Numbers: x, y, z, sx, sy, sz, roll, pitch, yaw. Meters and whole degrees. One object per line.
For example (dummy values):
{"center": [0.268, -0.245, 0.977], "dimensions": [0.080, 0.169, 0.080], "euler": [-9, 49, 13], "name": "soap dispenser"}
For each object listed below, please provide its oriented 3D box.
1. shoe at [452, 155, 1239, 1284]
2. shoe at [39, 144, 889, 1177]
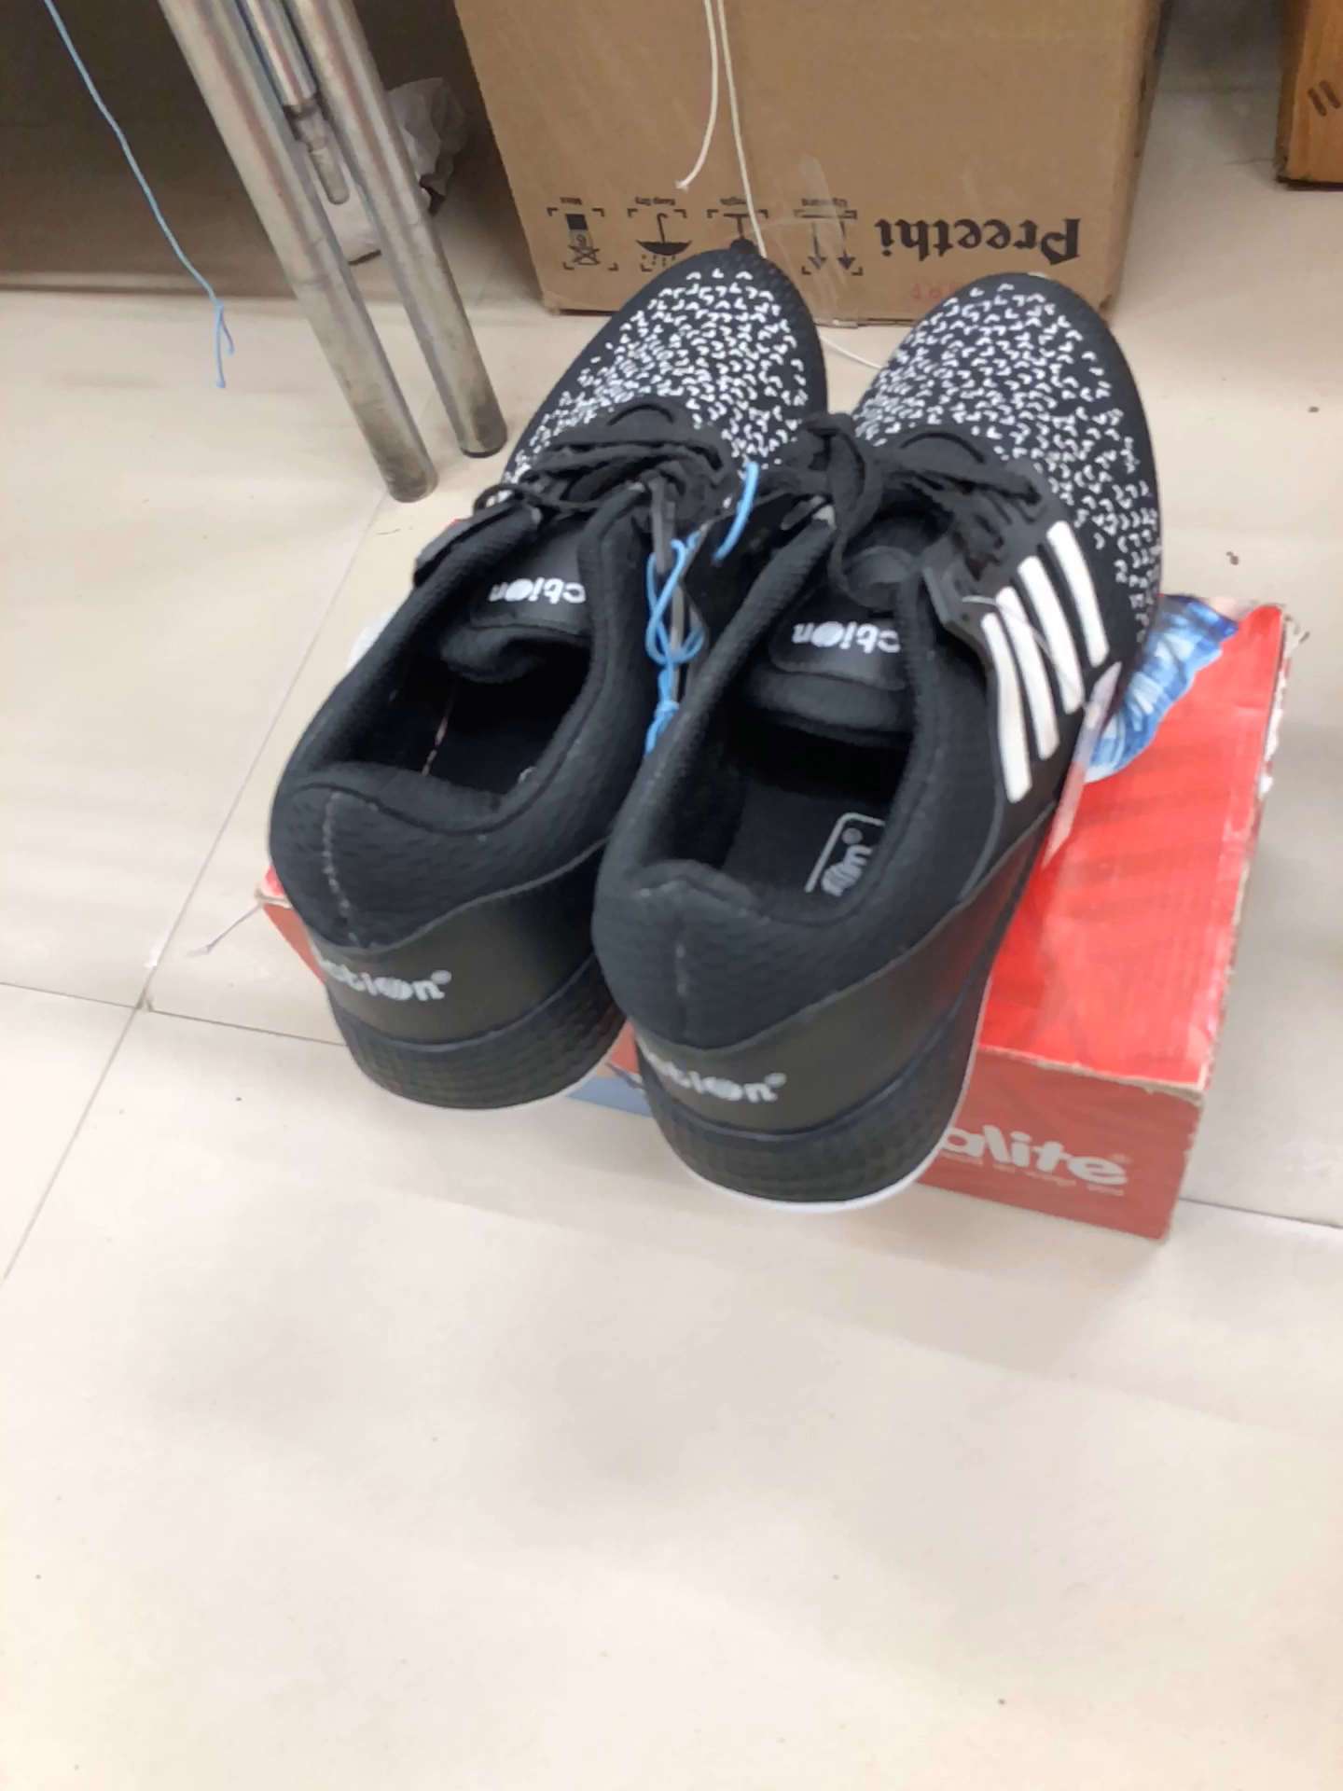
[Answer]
{"center": [0.060, -0.057, 0.376], "dimensions": [0.101, 0.102, 0.267], "euler": [13, 62, 20], "name": "shoe"}
{"center": [-0.033, -0.077, 0.408], "dimensions": [0.111, 0.102, 0.267], "euler": [12, 62, 19], "name": "shoe"}
